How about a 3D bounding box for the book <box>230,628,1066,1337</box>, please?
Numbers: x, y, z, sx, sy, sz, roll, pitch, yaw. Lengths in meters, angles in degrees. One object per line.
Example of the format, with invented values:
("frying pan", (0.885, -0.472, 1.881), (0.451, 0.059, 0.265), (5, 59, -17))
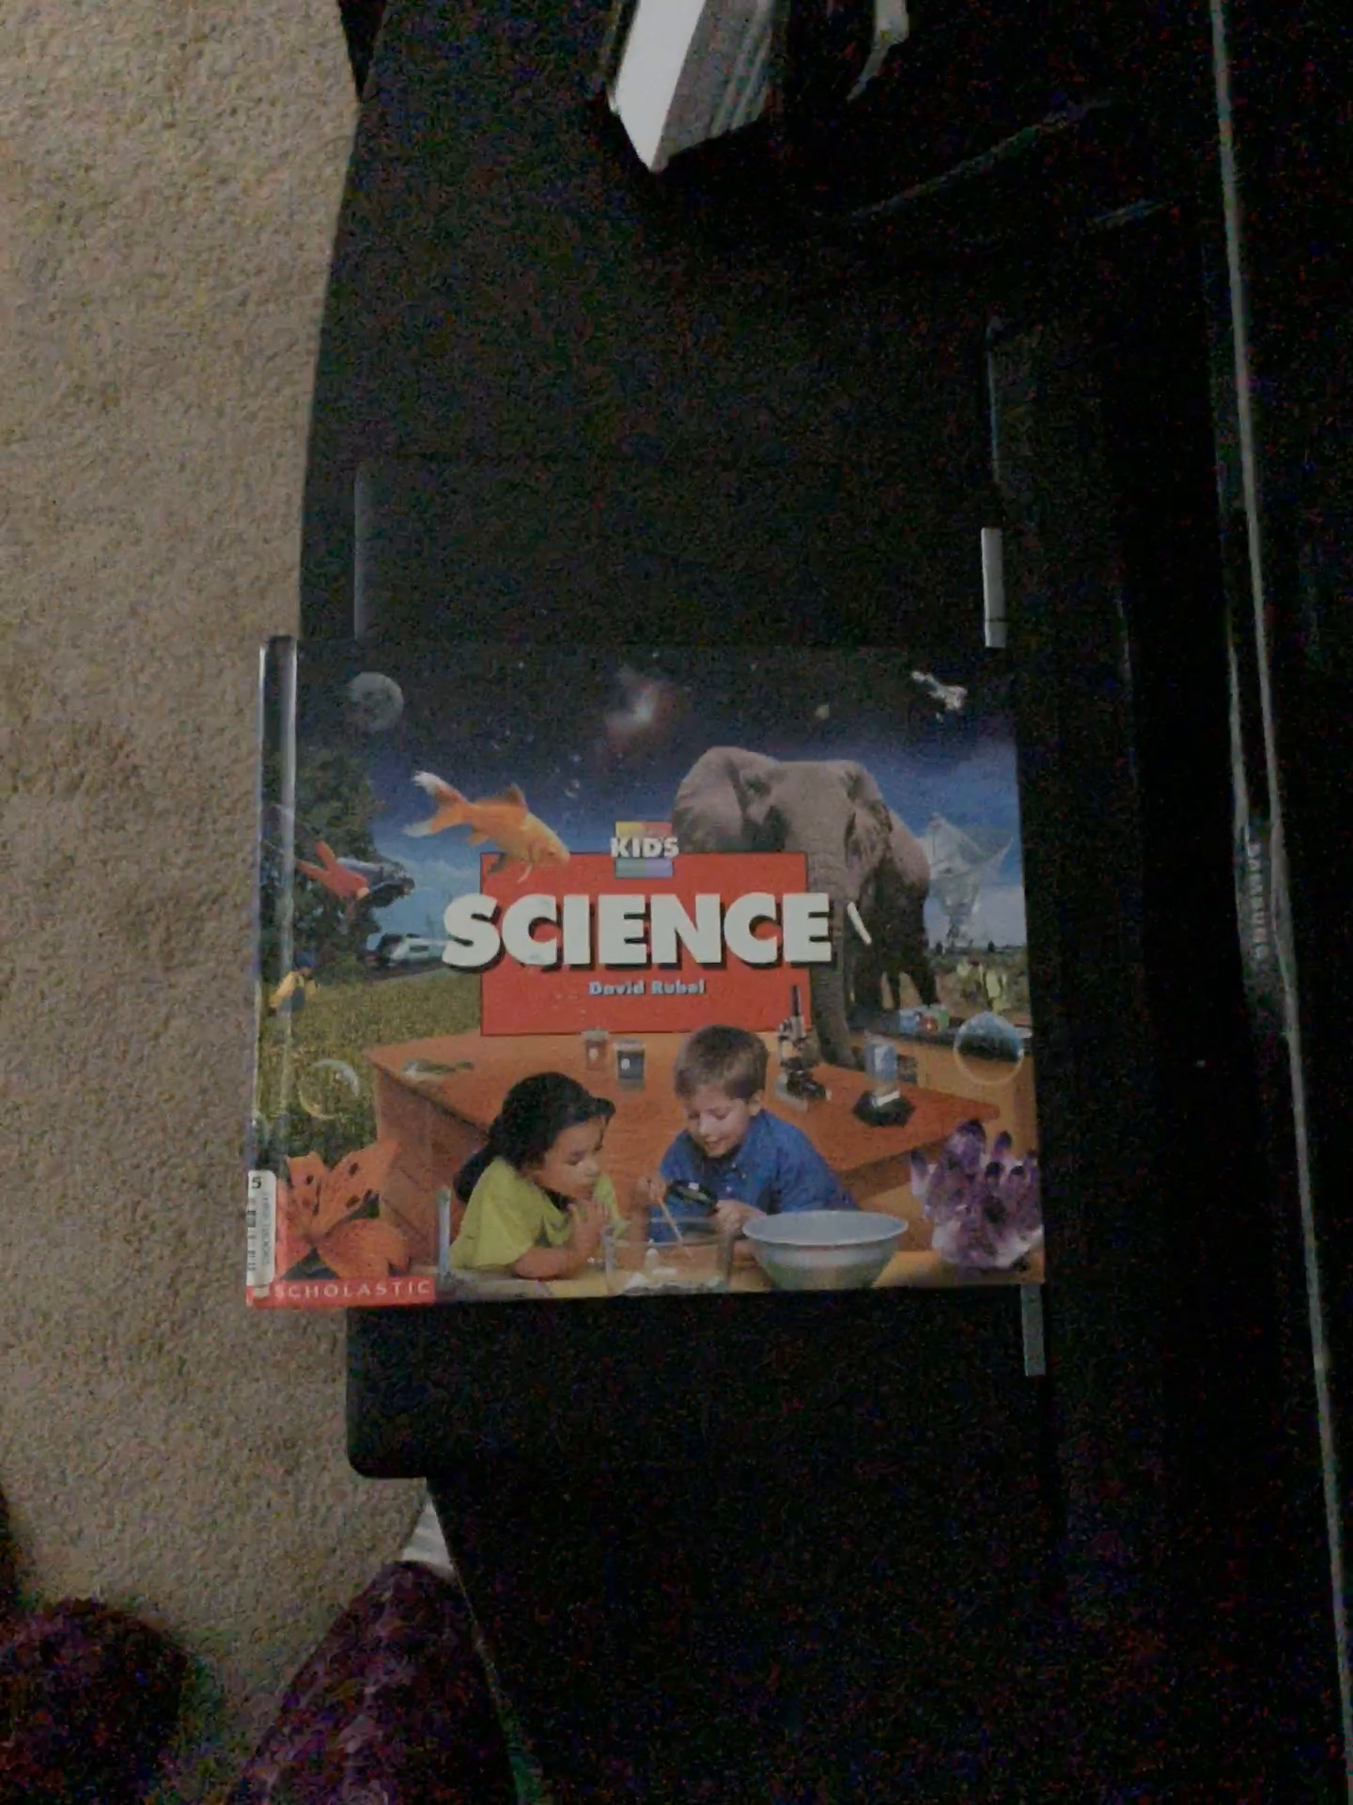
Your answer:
("book", (-0.009, 0.024, 0.497), (0.280, 0.030, 0.240), (0, 82, -5))
